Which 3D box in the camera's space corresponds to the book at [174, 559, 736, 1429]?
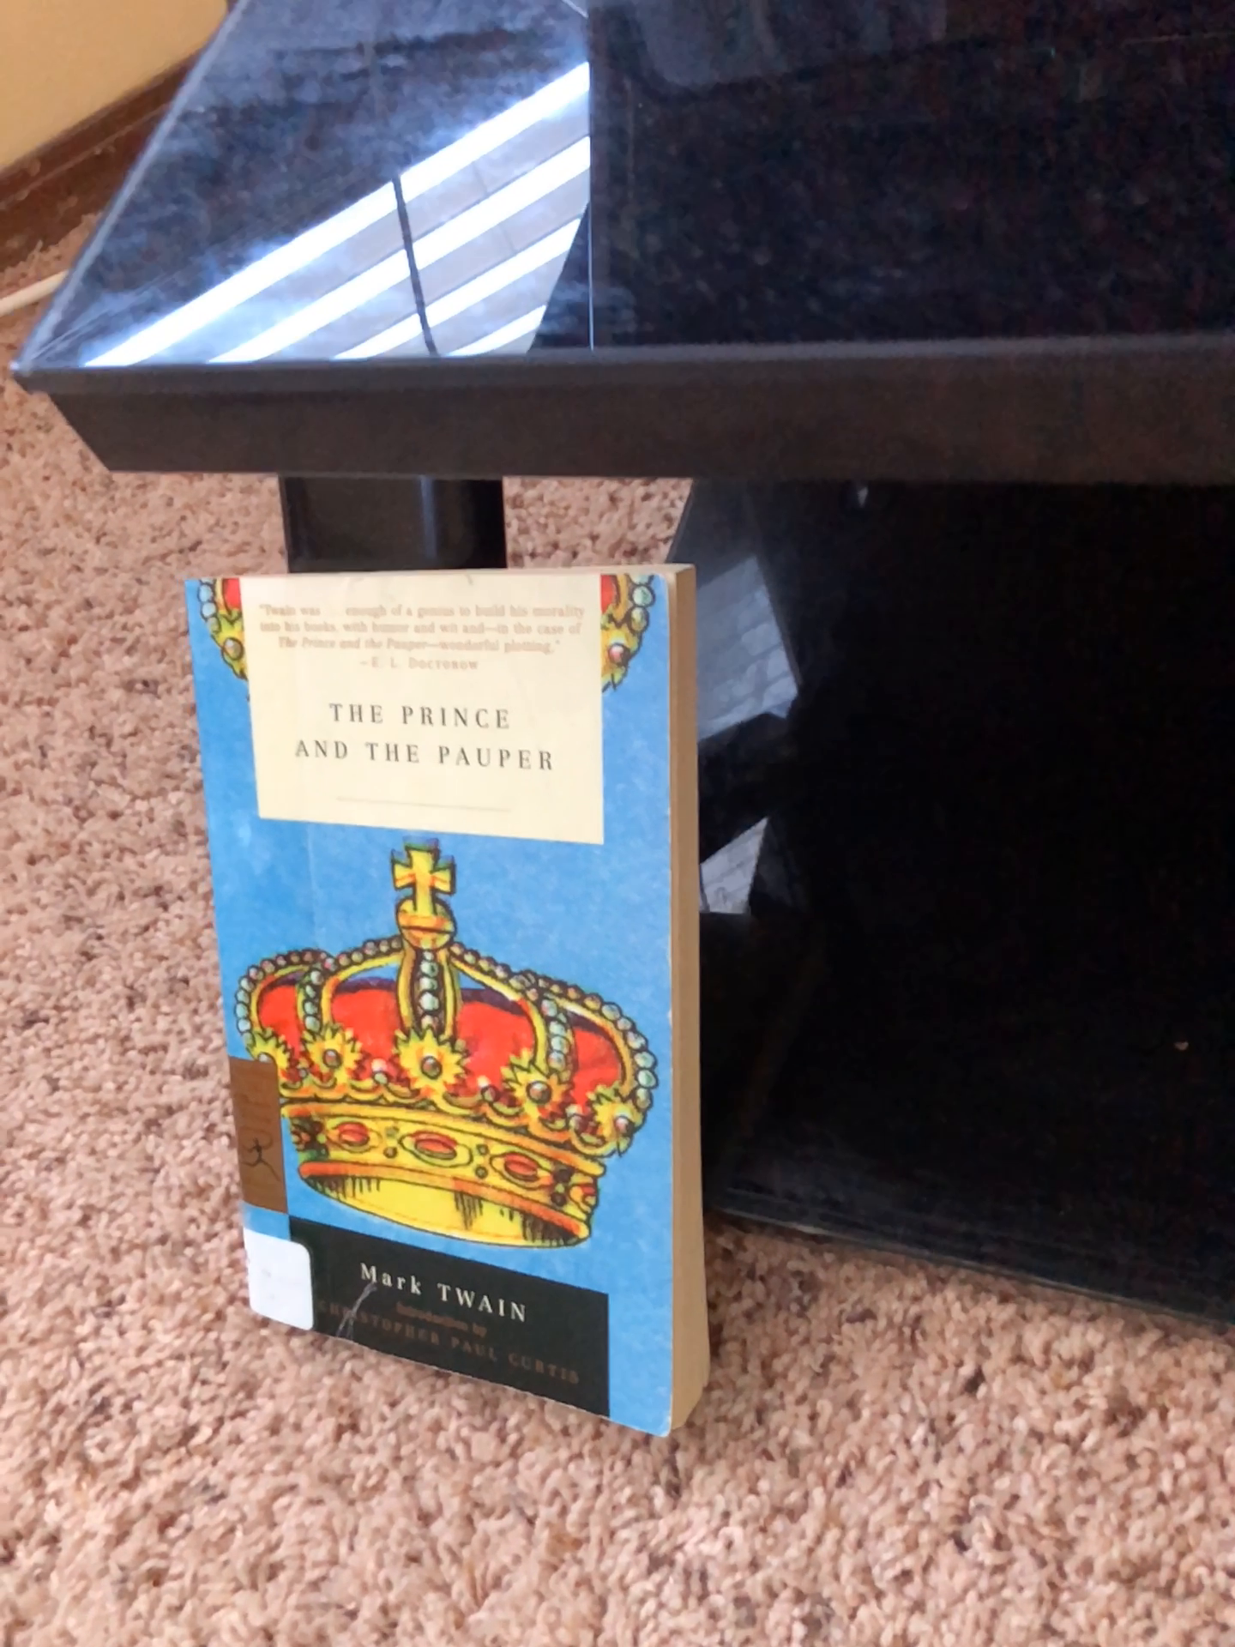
[{"bbox_3d":[-0.042,0.035,0.333,0.130,0.030,0.193,6,102,22],"label":"book"}]
